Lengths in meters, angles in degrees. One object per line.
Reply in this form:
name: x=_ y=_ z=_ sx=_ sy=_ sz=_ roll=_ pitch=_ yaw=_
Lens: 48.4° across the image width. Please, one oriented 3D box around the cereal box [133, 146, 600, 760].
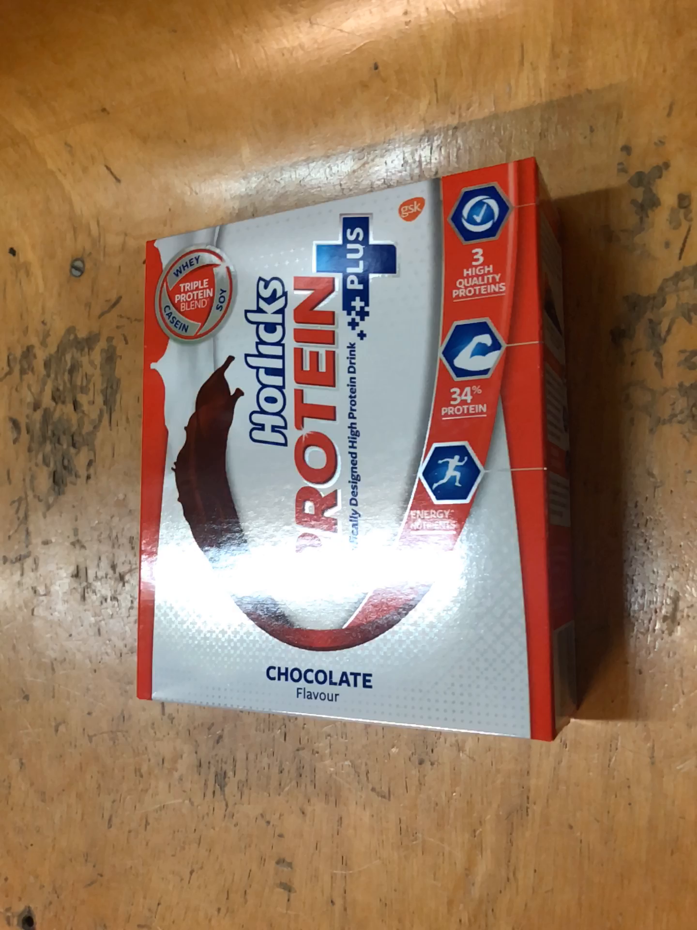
cereal box: x=0.004 y=-0.002 z=0.252 sx=0.140 sy=0.050 sz=0.160 roll=-2 pitch=85 yaw=23
